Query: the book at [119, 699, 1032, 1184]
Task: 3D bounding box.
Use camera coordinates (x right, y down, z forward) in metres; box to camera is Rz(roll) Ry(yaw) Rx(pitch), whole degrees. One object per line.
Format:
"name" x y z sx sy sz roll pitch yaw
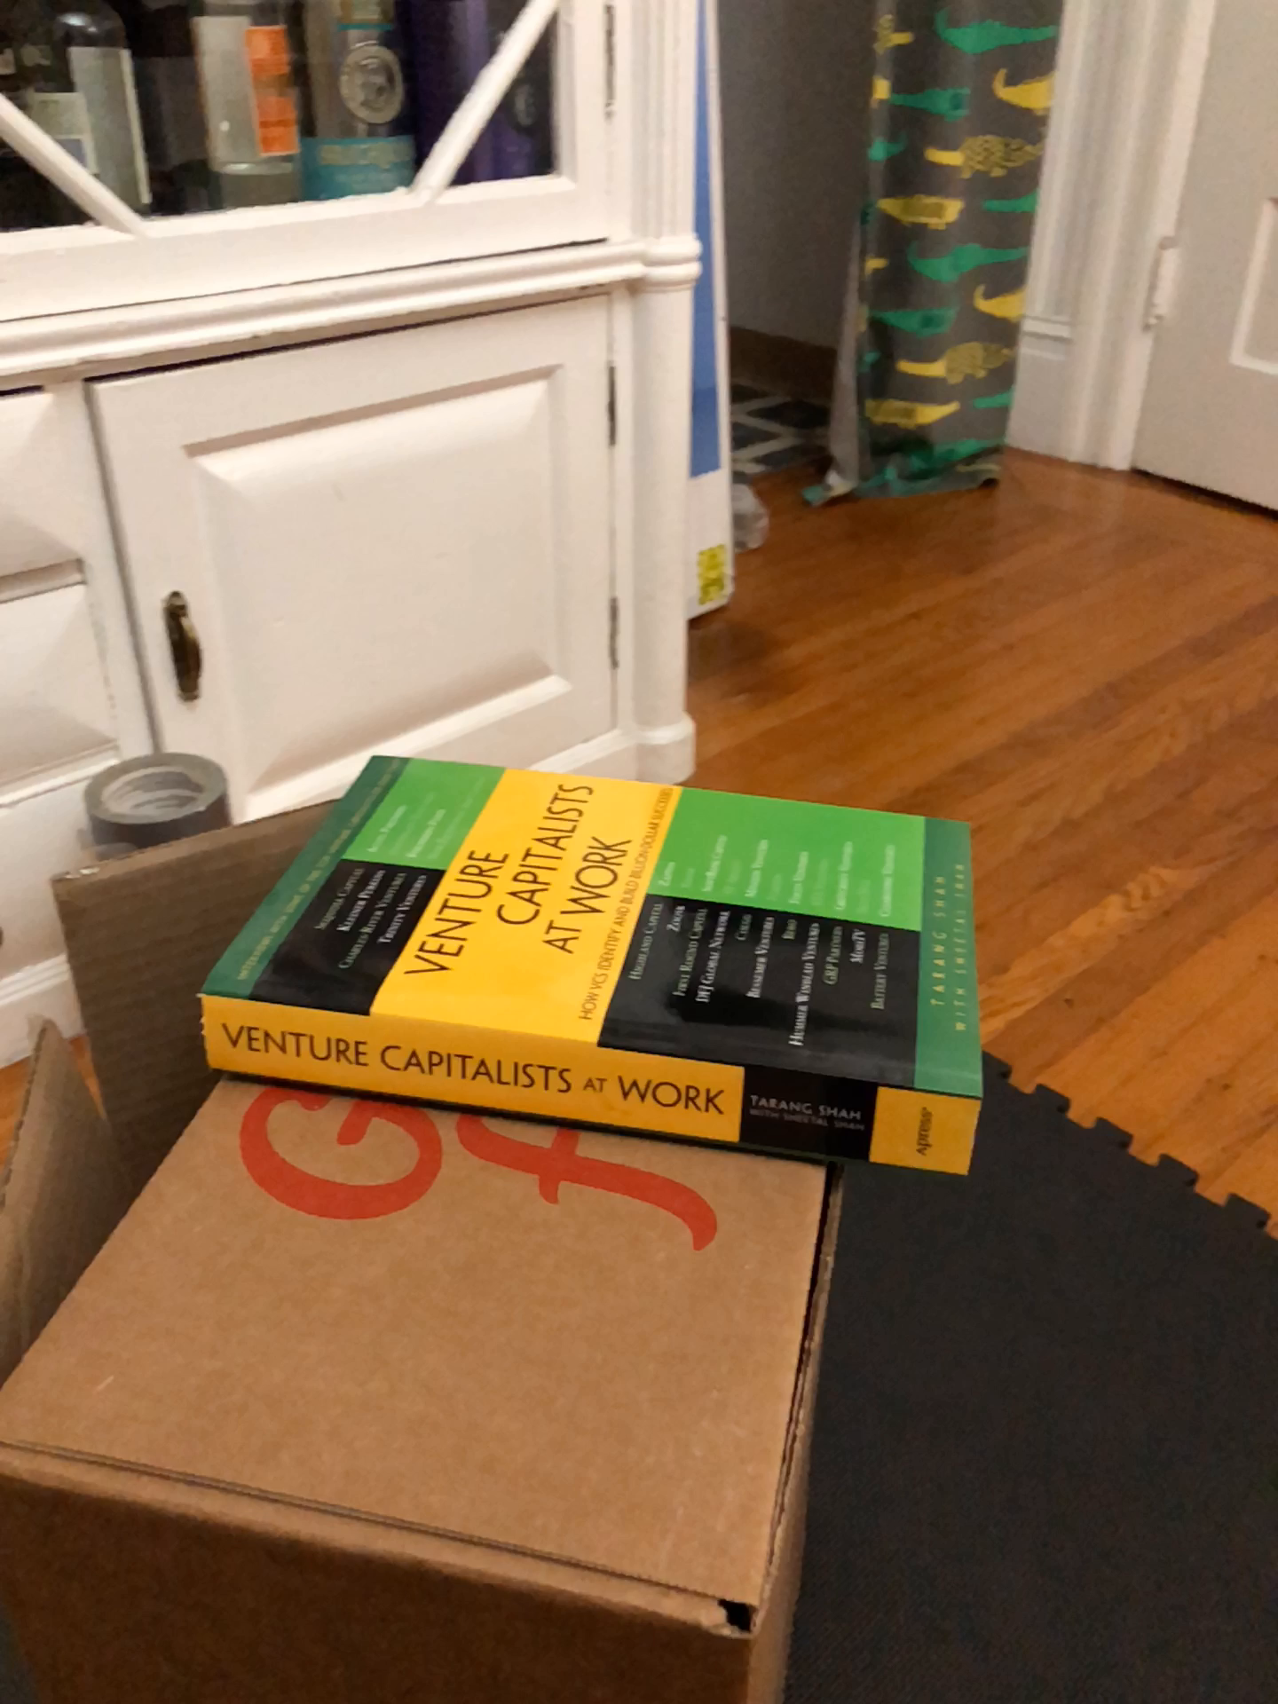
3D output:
"book" -0.009 0.017 0.469 0.260 0.040 0.161 8 33 8
